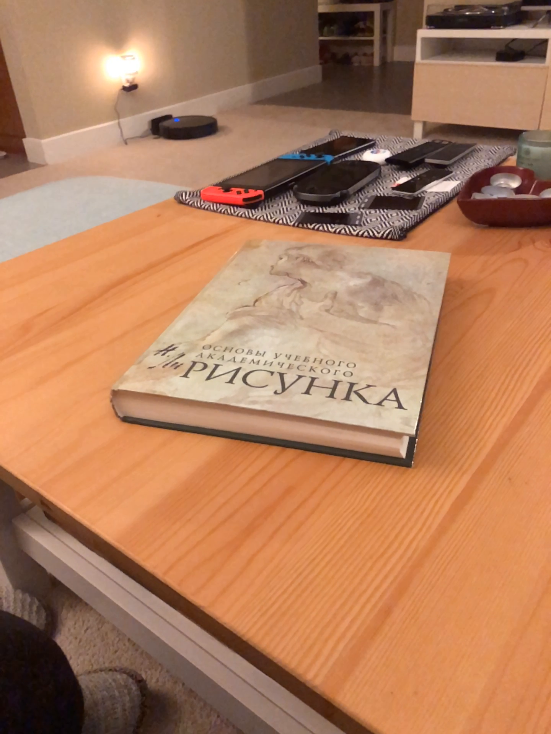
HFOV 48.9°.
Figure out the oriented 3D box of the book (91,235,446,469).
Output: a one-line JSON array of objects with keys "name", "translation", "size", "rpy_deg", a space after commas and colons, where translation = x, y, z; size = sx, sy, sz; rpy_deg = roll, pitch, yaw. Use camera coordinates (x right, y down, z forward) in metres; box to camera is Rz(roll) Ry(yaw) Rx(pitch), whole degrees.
[{"name": "book", "translation": [0.018, -0.037, 0.499], "size": [0.214, 0.030, 0.273], "rpy_deg": [8, 35, 16]}]
